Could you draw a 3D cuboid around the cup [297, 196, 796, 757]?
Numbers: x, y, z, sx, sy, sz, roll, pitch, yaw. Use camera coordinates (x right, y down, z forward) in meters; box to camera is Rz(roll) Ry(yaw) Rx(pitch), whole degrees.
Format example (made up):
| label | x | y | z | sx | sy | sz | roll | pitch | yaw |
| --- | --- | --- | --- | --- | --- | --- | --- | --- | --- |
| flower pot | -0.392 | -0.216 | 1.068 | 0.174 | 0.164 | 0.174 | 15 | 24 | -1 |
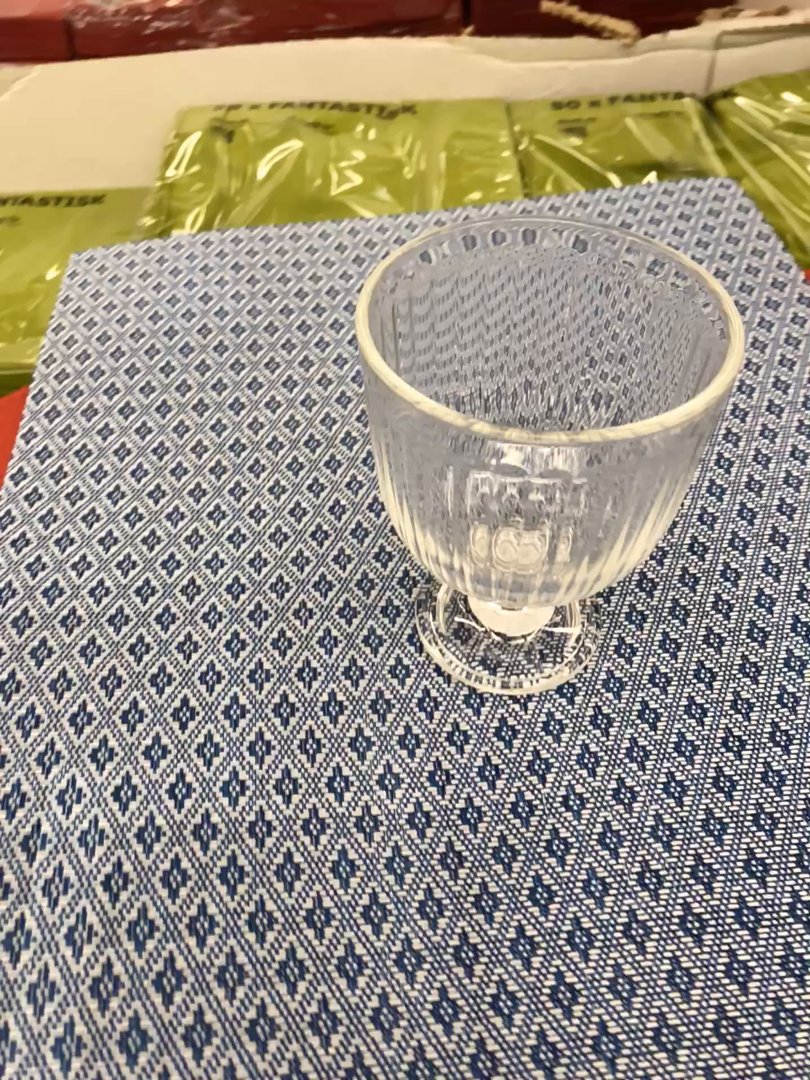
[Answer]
| label | x | y | z | sx | sy | sz | roll | pitch | yaw |
| --- | --- | --- | --- | --- | --- | --- | --- | --- | --- |
| cup | 0.037 | -0.018 | 0.256 | 0.100 | 0.110 | 0.100 | -1 | 47 | 1 |
